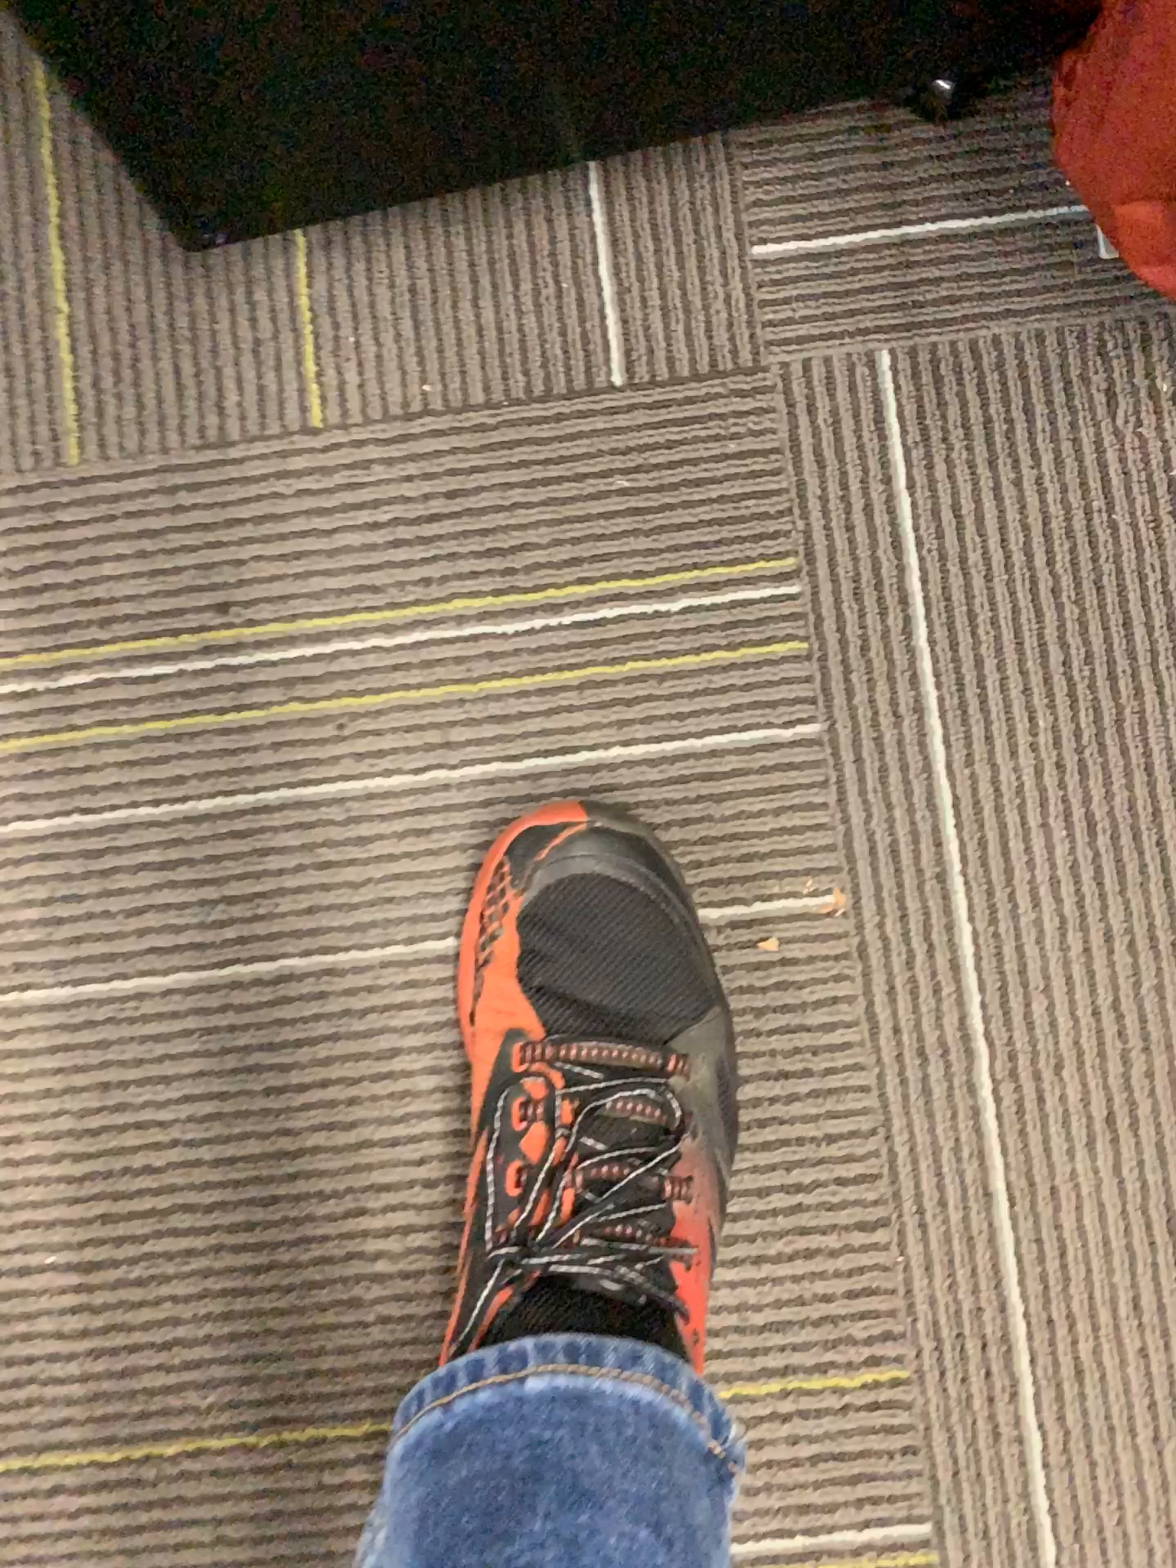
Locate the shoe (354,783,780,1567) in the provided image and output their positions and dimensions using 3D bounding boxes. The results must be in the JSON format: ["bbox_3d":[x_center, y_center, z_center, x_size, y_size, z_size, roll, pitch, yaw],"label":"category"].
[{"bbox_3d":[-0.005,0.165,0.471,0.130,0.077,0.317,4,86,2],"label":"shoe"}]
